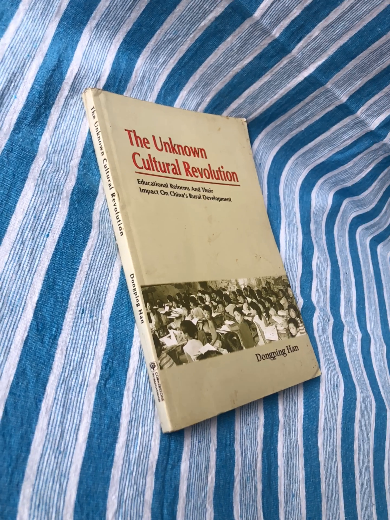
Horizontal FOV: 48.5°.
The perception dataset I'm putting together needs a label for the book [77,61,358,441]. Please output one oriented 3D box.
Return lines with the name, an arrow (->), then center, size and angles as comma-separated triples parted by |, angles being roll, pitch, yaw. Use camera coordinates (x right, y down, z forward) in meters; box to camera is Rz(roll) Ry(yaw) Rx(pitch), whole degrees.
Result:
book -> 0.014, -0.021, 0.288 | 0.141, 0.020, 0.230 | -4, 69, -35
